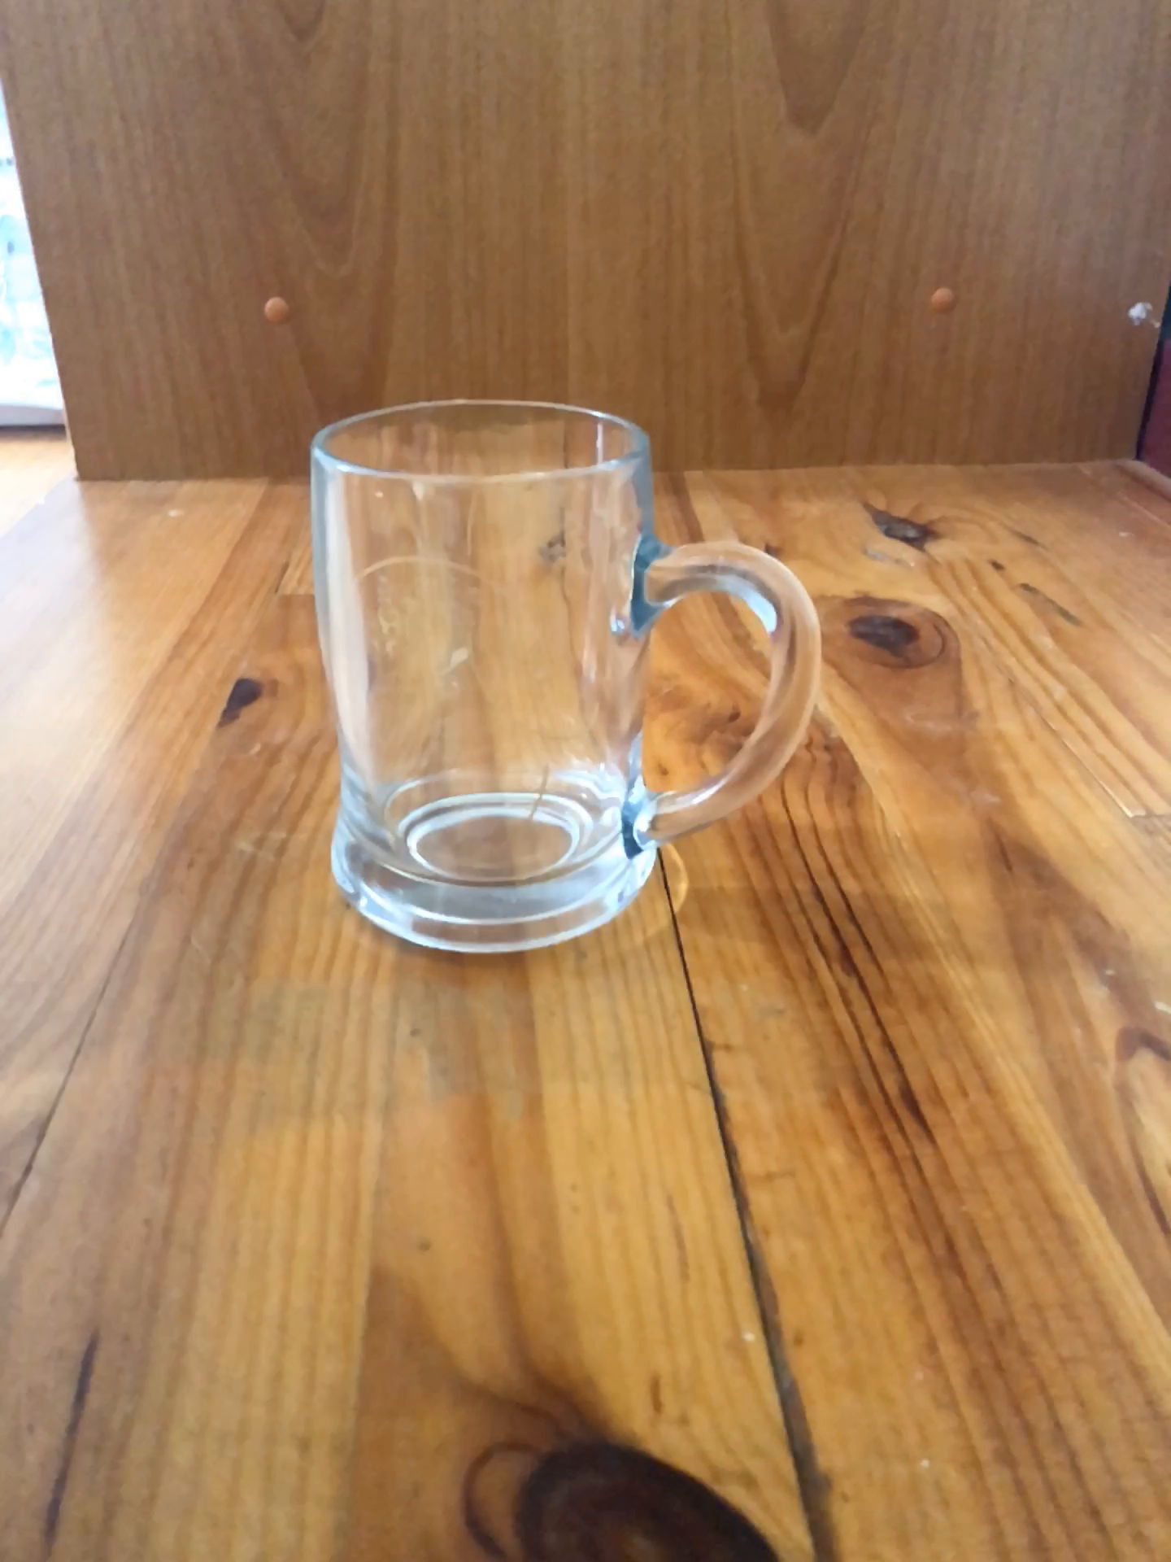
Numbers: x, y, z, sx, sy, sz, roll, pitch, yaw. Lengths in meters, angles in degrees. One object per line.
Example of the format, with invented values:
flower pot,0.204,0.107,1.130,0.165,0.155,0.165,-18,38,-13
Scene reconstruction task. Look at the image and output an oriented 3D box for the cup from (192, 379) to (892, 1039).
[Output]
cup,-0.006,-0.026,0.312,0.128,0.110,0.092,13,32,21
